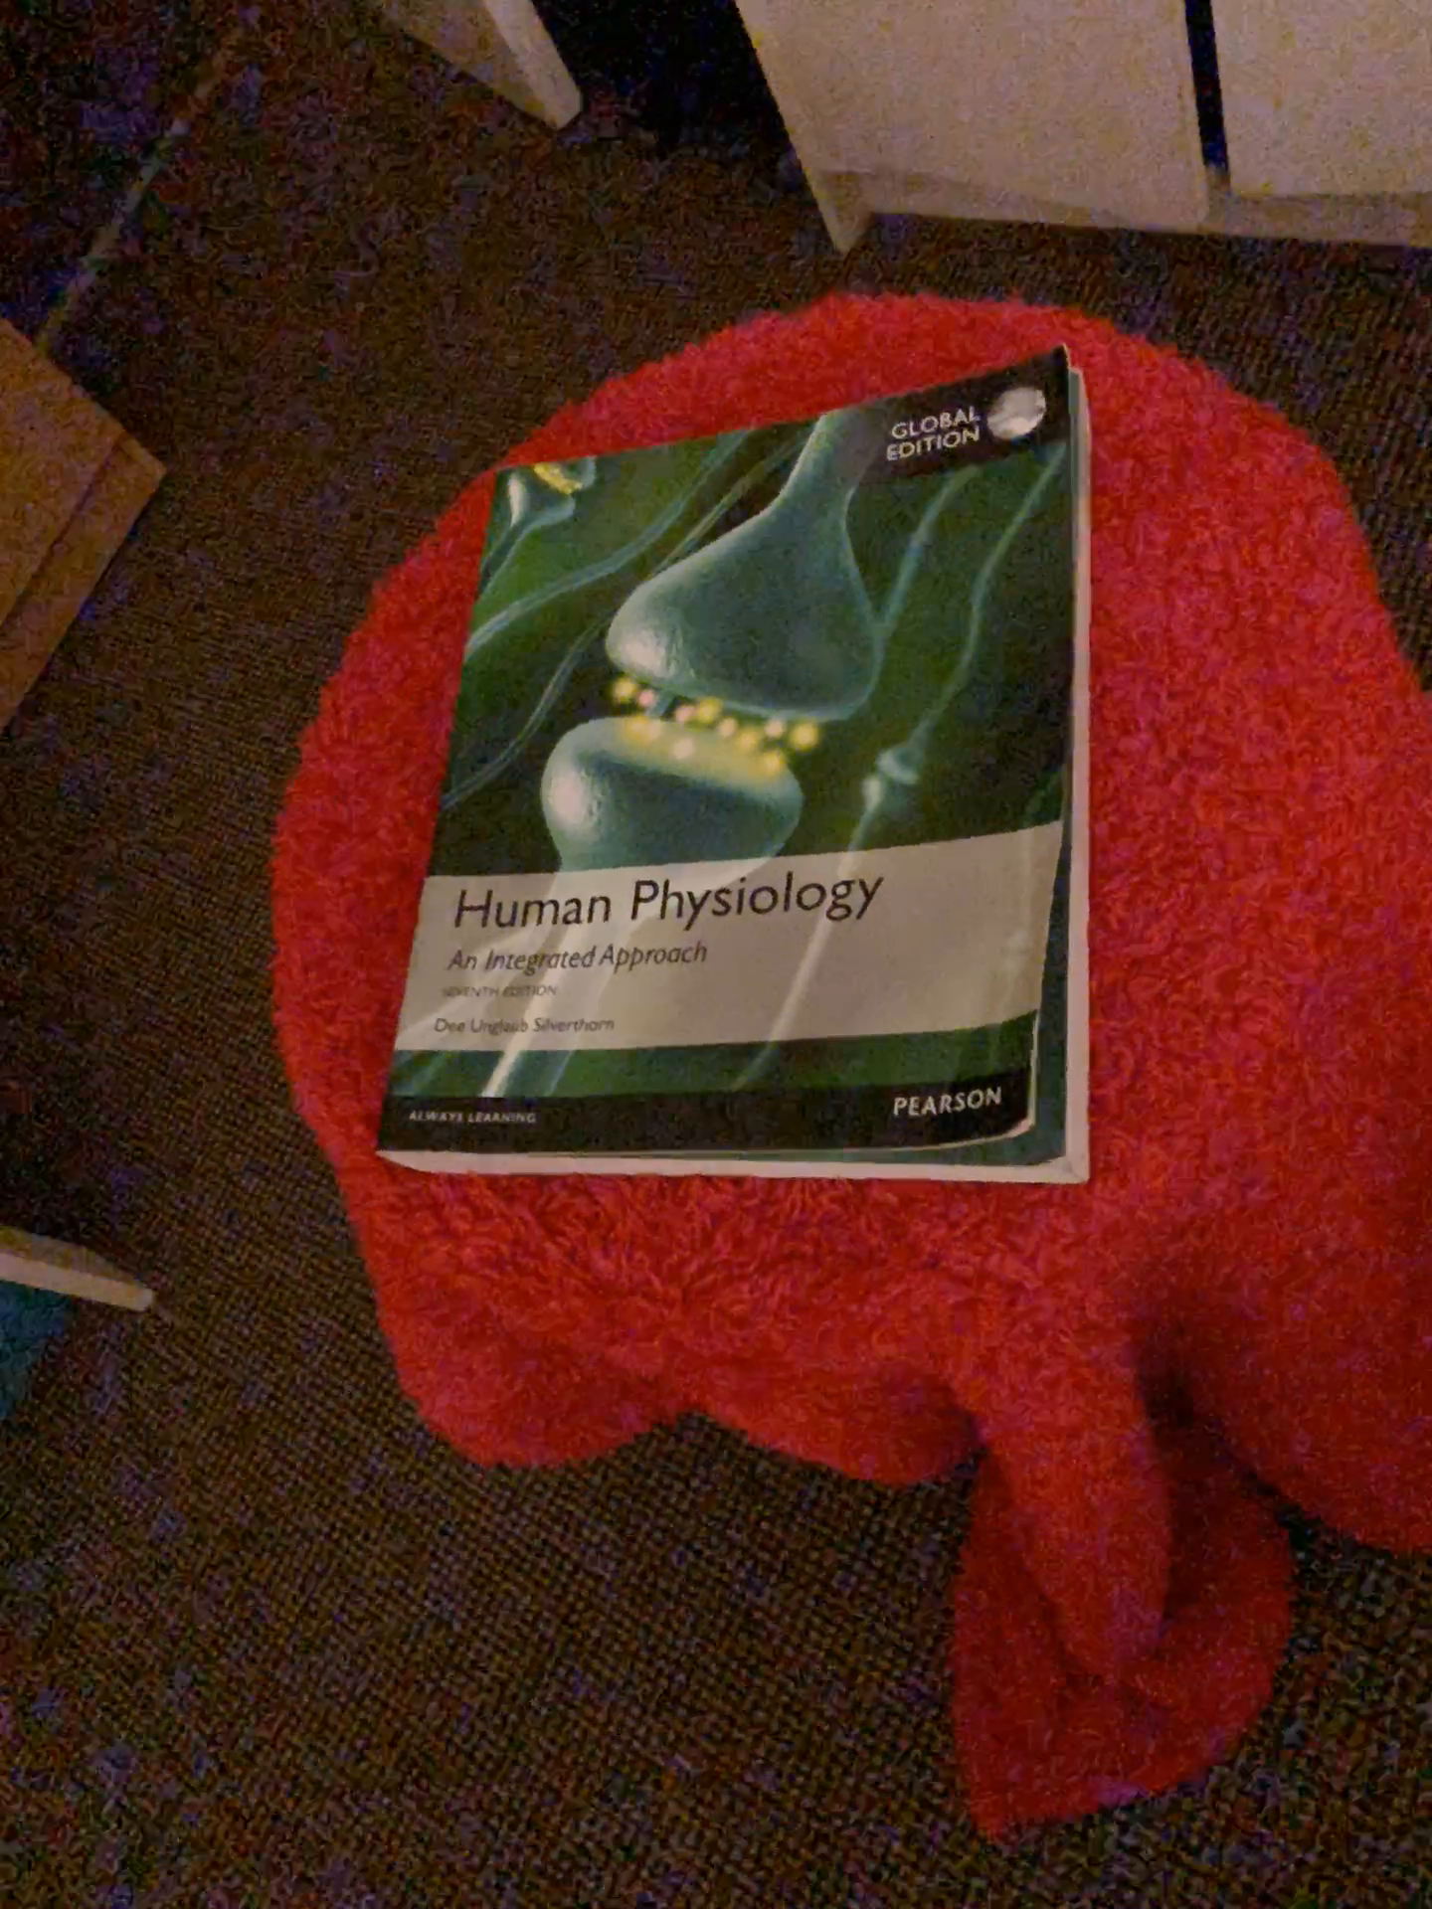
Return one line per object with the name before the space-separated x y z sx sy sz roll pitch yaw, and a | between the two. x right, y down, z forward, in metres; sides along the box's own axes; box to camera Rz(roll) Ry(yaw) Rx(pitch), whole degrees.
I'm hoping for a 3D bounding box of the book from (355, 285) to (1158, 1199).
book | 0.023 -0.072 0.523 0.250 0.070 0.301 -3 67 23
